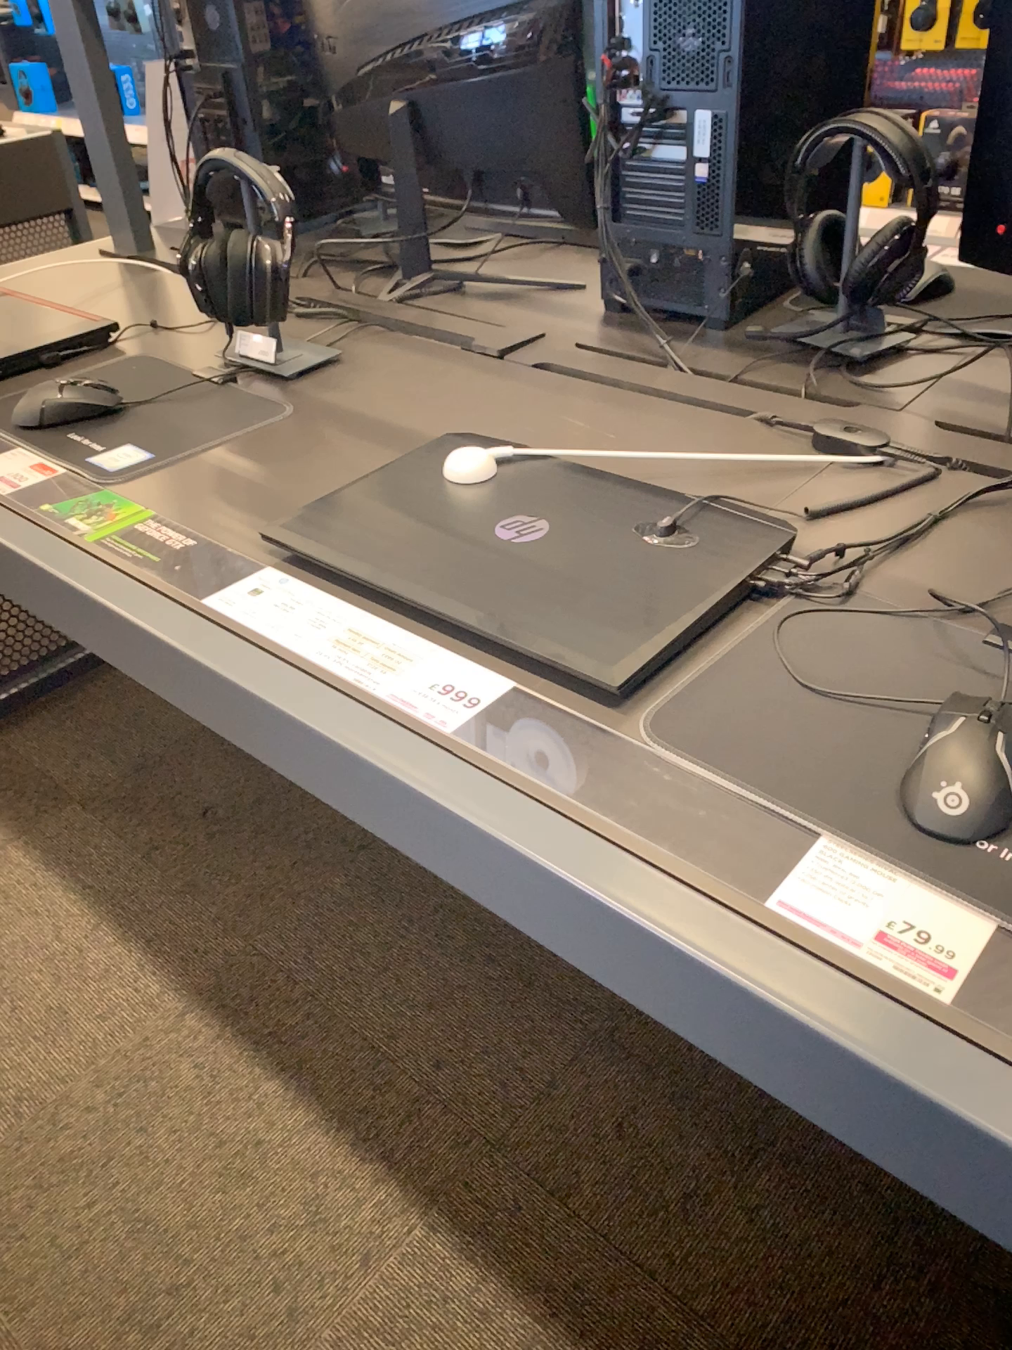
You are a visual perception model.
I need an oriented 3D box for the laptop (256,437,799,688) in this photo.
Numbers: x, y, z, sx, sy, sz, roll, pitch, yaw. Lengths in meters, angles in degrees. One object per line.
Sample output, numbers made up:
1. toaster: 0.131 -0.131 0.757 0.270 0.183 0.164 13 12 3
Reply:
1. laptop: 0.009 -0.119 0.891 0.395 0.001 0.257 23 45 34
